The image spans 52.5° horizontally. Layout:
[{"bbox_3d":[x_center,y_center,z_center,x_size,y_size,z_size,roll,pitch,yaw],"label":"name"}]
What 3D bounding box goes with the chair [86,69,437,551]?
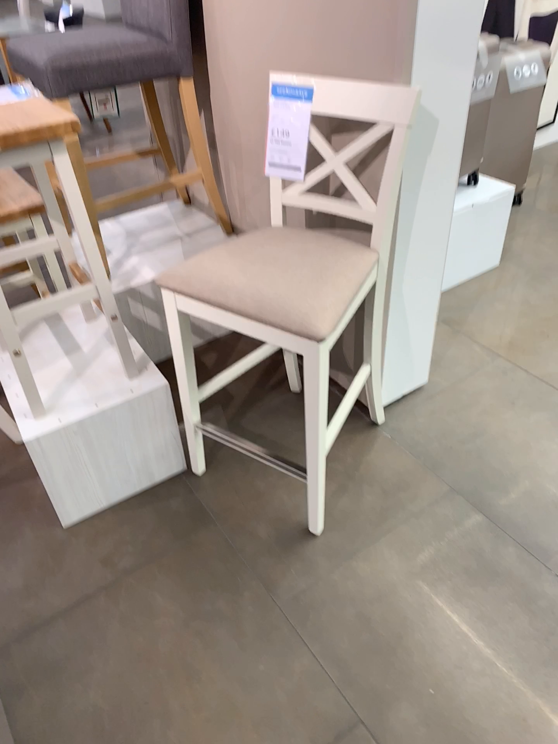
[{"bbox_3d":[0.009,-0.145,1.380,0.451,0.937,0.541,21,44,27],"label":"chair"}]
